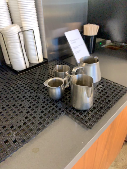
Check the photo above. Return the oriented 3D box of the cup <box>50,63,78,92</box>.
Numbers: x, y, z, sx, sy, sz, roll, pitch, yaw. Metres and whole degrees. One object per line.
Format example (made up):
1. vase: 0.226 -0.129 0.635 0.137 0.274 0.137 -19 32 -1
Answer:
1. cup: 0.002 -0.036 0.576 0.070 0.070 0.111 -22 38 -26

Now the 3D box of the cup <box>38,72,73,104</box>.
1. cup: -0.030 0.010 0.509 0.110 0.070 0.070 -19 37 -23

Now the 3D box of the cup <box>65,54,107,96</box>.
1. cup: 0.095 -0.048 0.584 0.140 0.119 0.101 -20 38 -23

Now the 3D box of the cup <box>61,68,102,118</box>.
1. cup: 0.061 0.026 0.487 0.080 0.119 0.121 -22 39 -27
